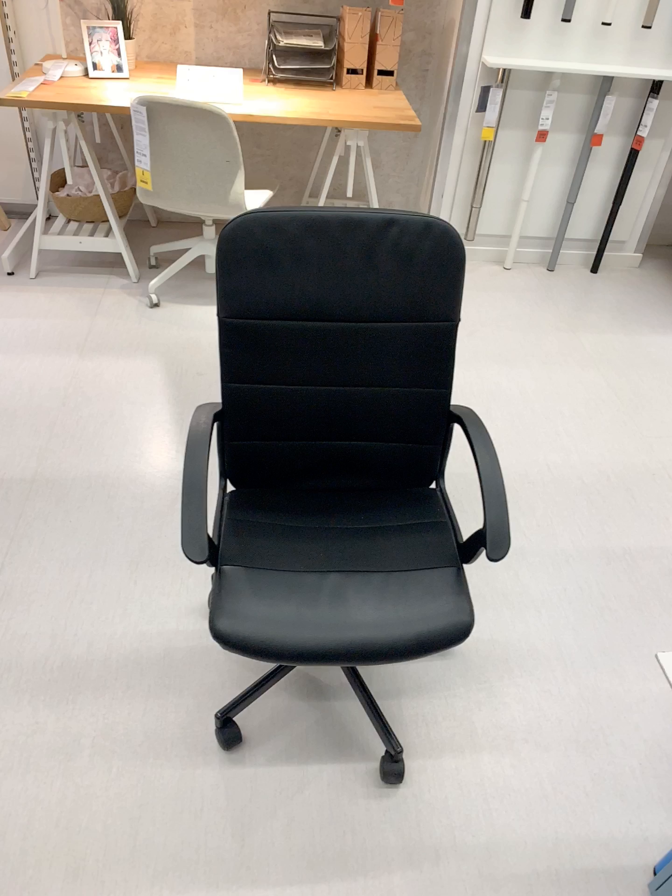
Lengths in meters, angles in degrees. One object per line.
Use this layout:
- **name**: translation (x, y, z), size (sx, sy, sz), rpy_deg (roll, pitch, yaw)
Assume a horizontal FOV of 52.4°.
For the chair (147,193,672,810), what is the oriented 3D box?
- **chair**: translation (0.031, 0.135, 1.289), size (0.610, 0.996, 0.582), rpy_deg (-1, 40, -8)
